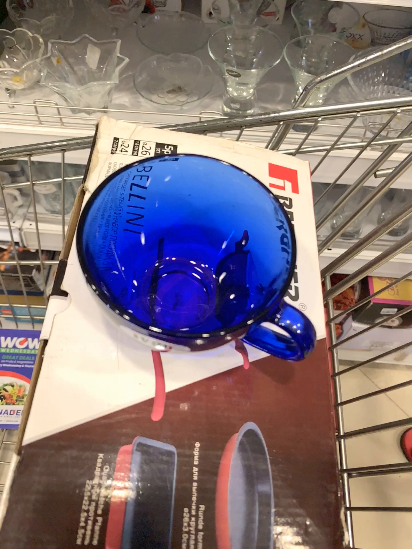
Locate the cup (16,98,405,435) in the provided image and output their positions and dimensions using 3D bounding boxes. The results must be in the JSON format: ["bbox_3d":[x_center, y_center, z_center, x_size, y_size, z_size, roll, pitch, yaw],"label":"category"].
[{"bbox_3d":[0.003,-0.007,0.169,0.110,0.050,0.080,29,63,14],"label":"cup"}]
